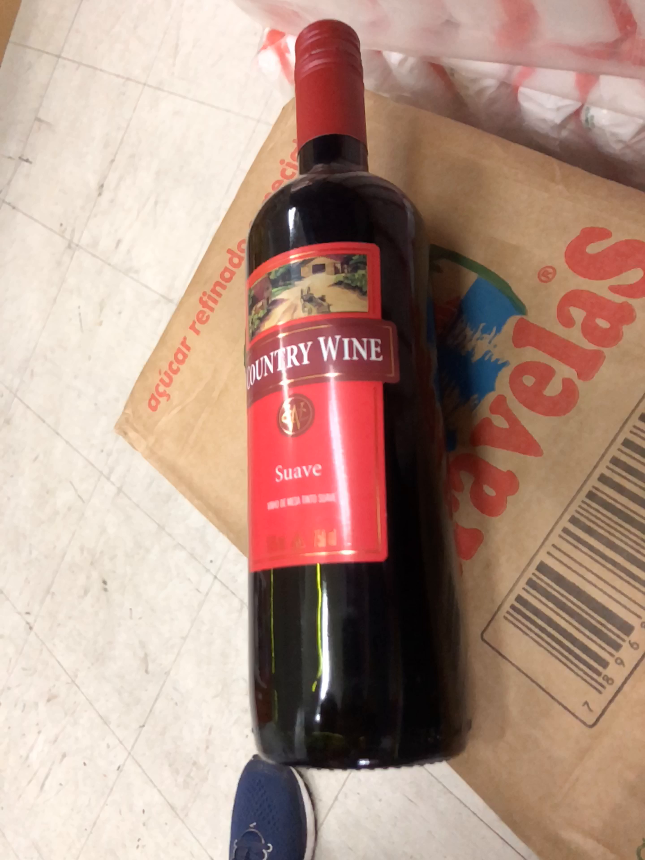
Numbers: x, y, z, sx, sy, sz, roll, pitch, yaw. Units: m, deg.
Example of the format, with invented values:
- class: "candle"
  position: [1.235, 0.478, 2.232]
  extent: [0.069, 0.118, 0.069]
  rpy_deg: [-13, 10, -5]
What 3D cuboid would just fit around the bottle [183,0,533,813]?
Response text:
- class: "bottle"
  position: [0.006, -0.031, 0.261]
  extent: [0.080, 0.060, 0.290]
  rpy_deg: [-14, 75, 33]
